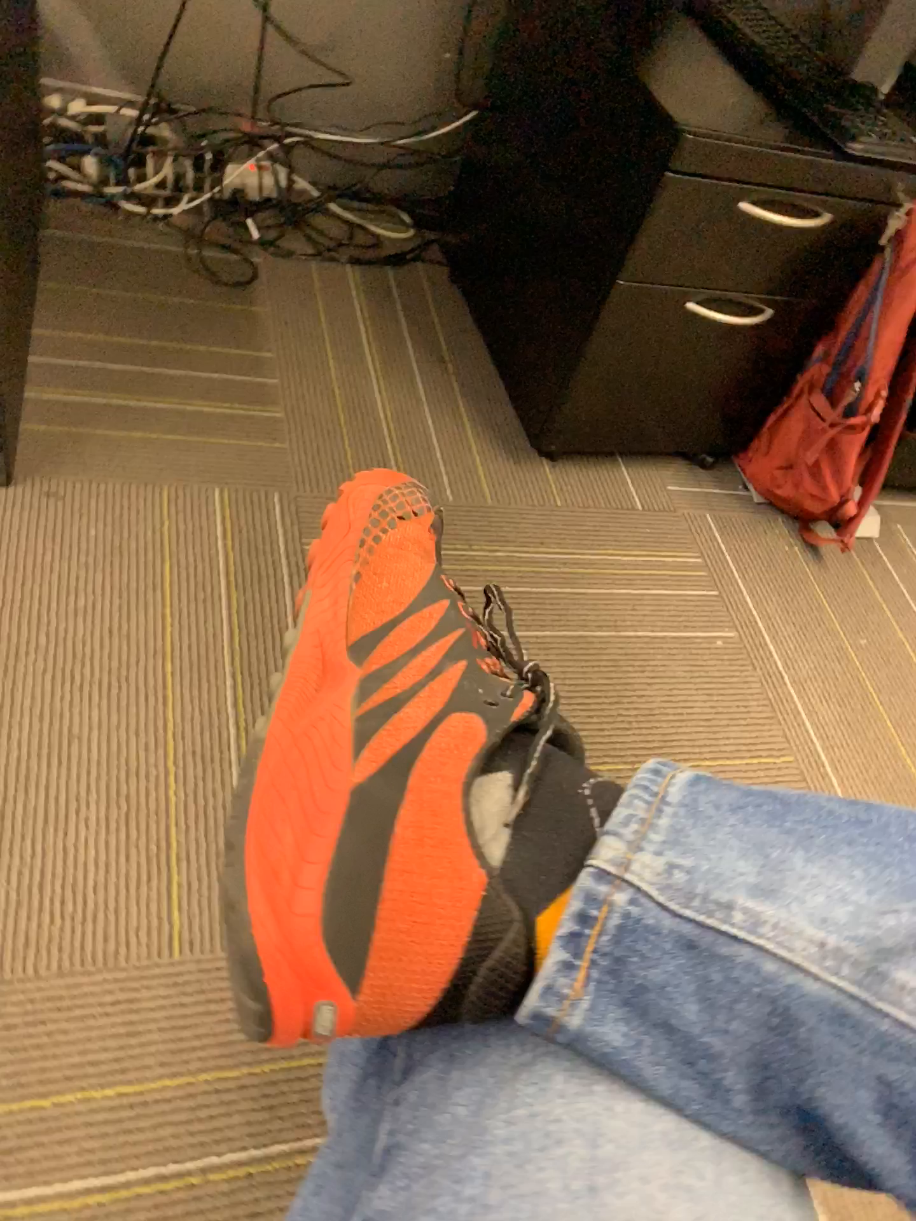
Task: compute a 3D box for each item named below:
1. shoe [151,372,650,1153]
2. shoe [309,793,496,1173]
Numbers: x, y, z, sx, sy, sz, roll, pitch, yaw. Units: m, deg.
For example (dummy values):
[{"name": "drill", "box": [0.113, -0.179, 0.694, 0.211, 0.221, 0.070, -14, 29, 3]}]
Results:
[{"name": "shoe", "box": [-0.021, 0.043, 0.421, 0.145, 0.110, 0.322, 7, 47, -7]}, {"name": "shoe", "box": [-0.044, 0.347, 0.915, 0.117, 0.067, 0.320, 19, 47, -10]}]
